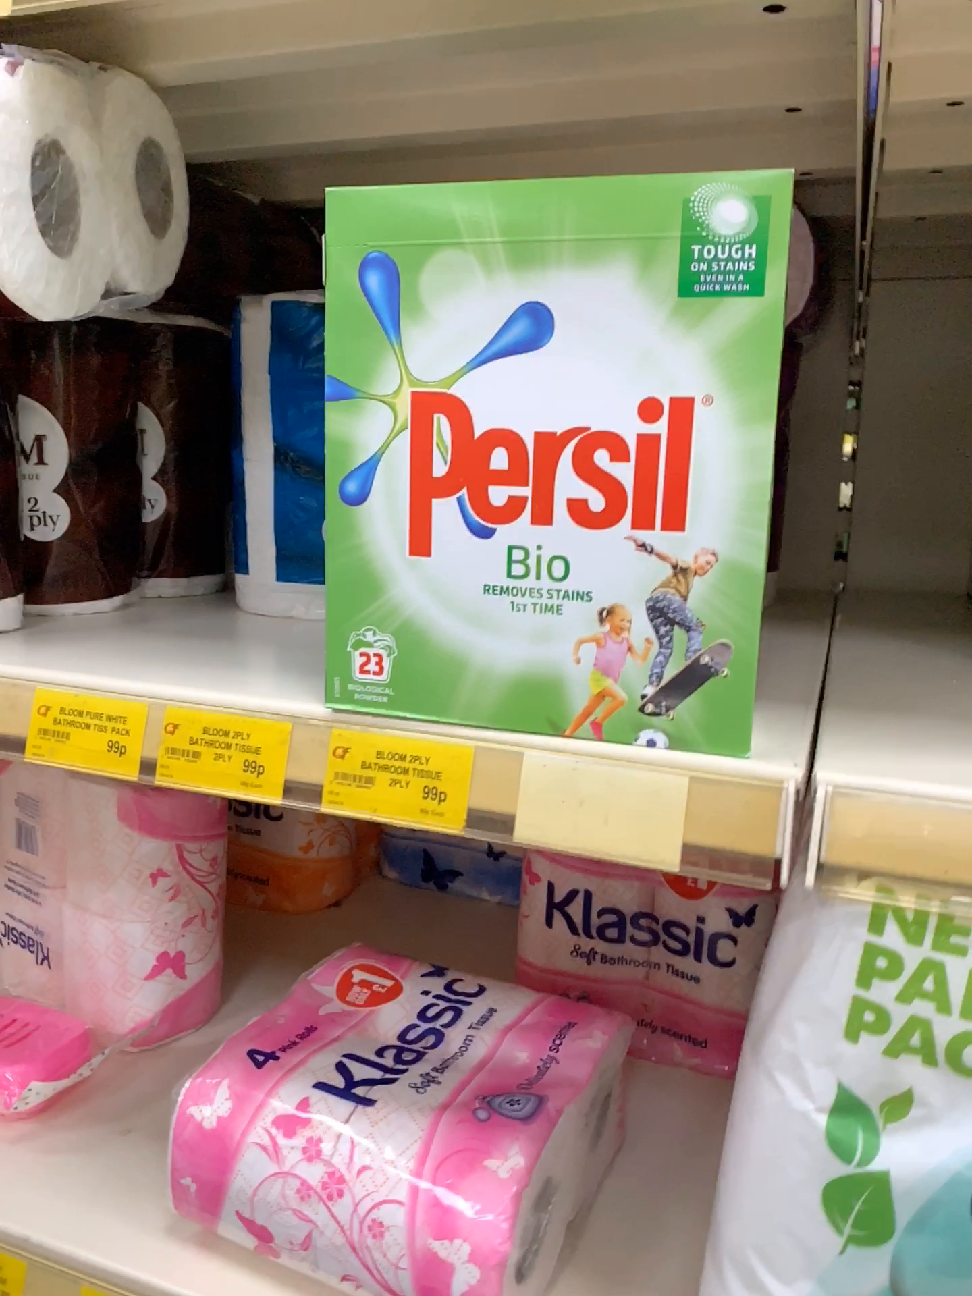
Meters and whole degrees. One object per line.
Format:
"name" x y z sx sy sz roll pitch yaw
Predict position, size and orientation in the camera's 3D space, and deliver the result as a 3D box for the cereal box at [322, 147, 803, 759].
"cereal box" 0.034 -0.087 0.469 0.200 0.239 0.090 5 10 17
